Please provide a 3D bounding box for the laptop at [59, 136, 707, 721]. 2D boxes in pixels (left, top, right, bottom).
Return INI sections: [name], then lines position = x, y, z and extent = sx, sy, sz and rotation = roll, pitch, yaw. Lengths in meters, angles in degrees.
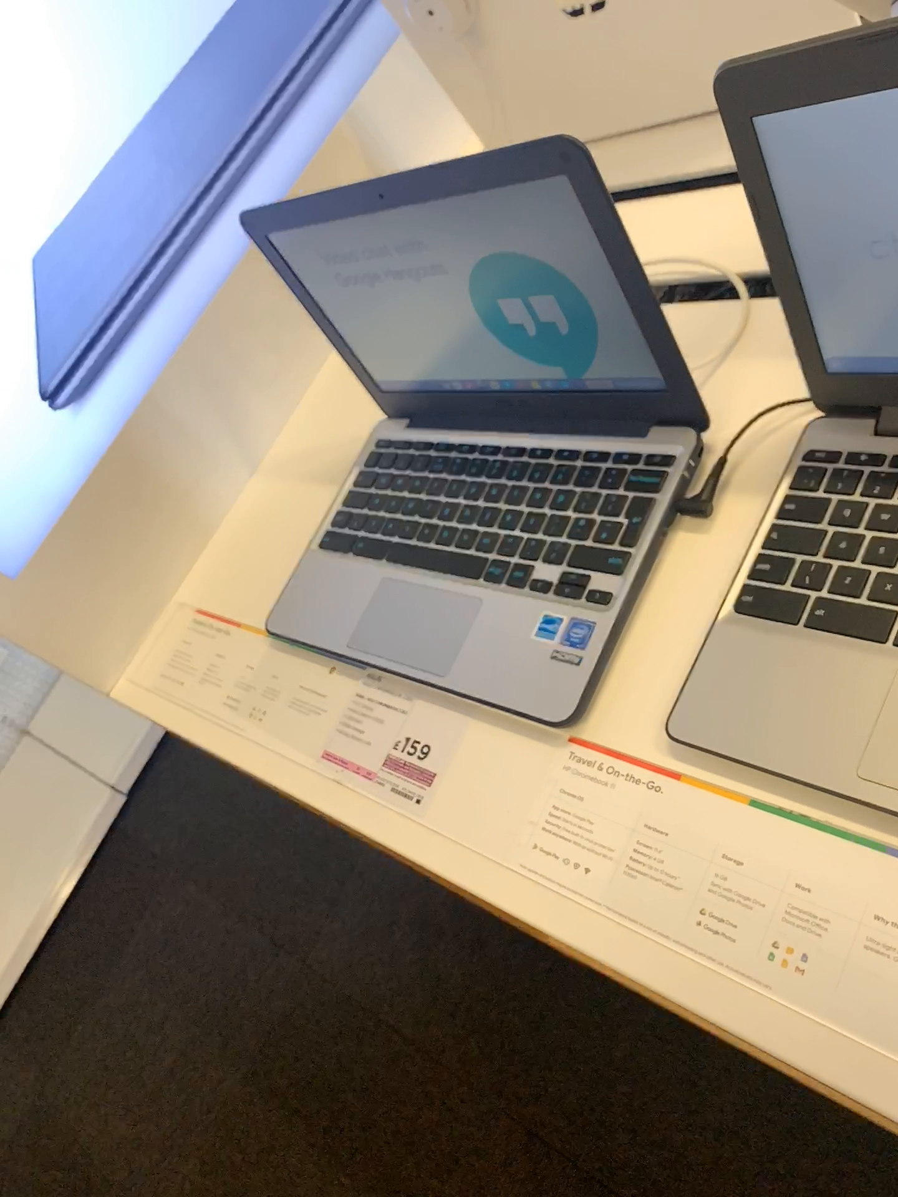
[laptop]
position = -0.042, -0.098, 0.558
extent = 0.281, 0.183, 0.216
rotation = 12, 67, 45
